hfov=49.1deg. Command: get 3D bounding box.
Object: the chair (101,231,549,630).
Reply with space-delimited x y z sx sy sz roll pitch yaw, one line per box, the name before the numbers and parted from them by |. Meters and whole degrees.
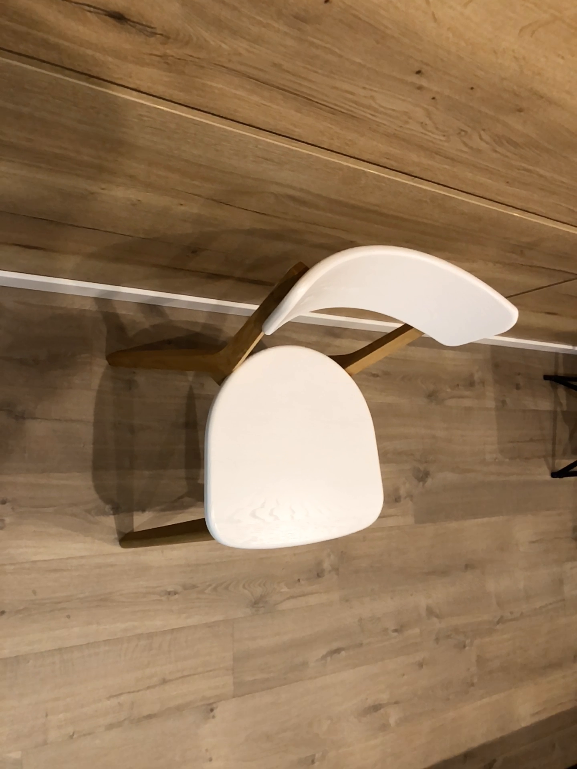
chair | -0.005 0.097 1.319 0.502 0.827 0.530 -1 84 -33
